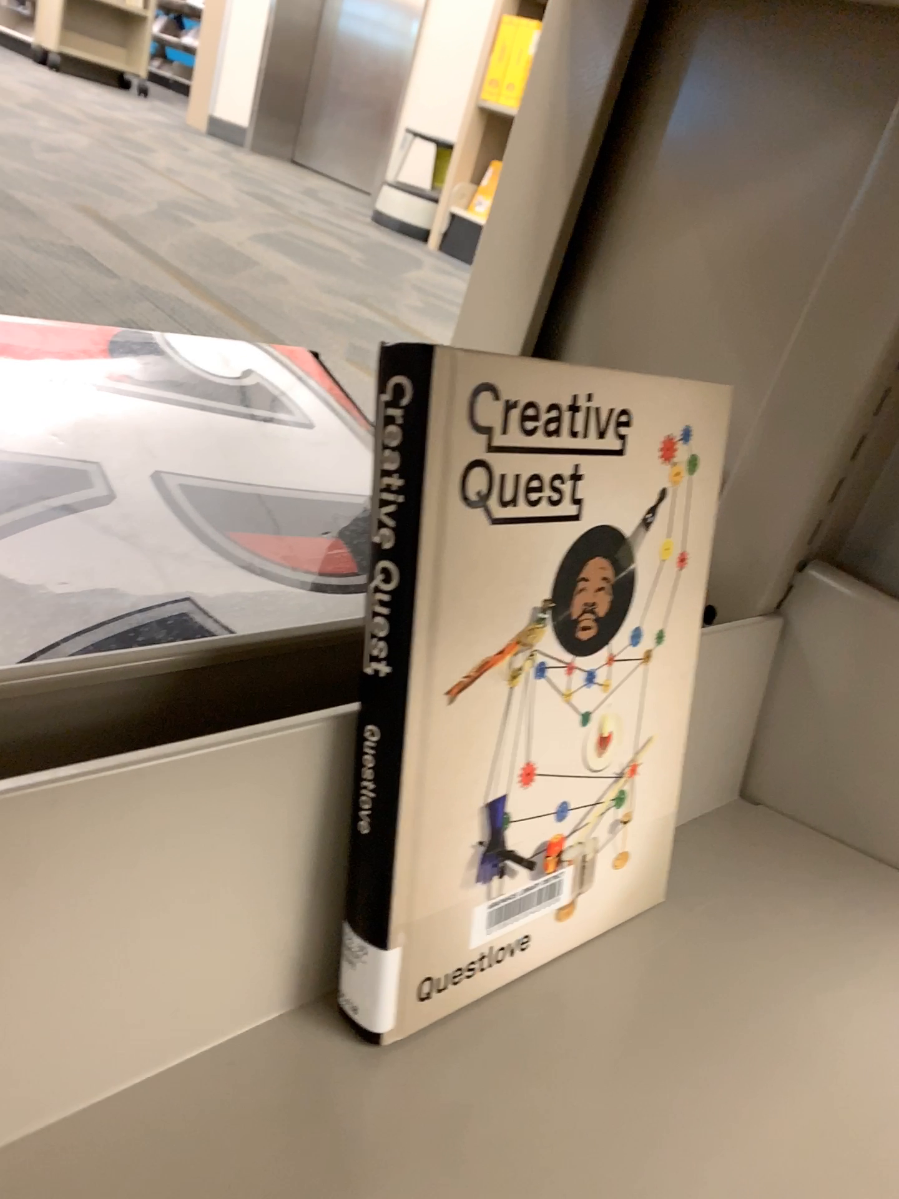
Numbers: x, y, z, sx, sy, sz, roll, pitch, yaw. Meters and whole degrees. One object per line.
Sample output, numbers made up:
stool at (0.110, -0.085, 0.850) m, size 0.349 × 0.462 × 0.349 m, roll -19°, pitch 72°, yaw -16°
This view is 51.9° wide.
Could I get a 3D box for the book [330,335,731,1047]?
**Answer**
book at (0.035, 0.026, 0.344) m, size 0.160 × 0.223 × 0.031 m, roll -7°, pitch 15°, yaw -43°
